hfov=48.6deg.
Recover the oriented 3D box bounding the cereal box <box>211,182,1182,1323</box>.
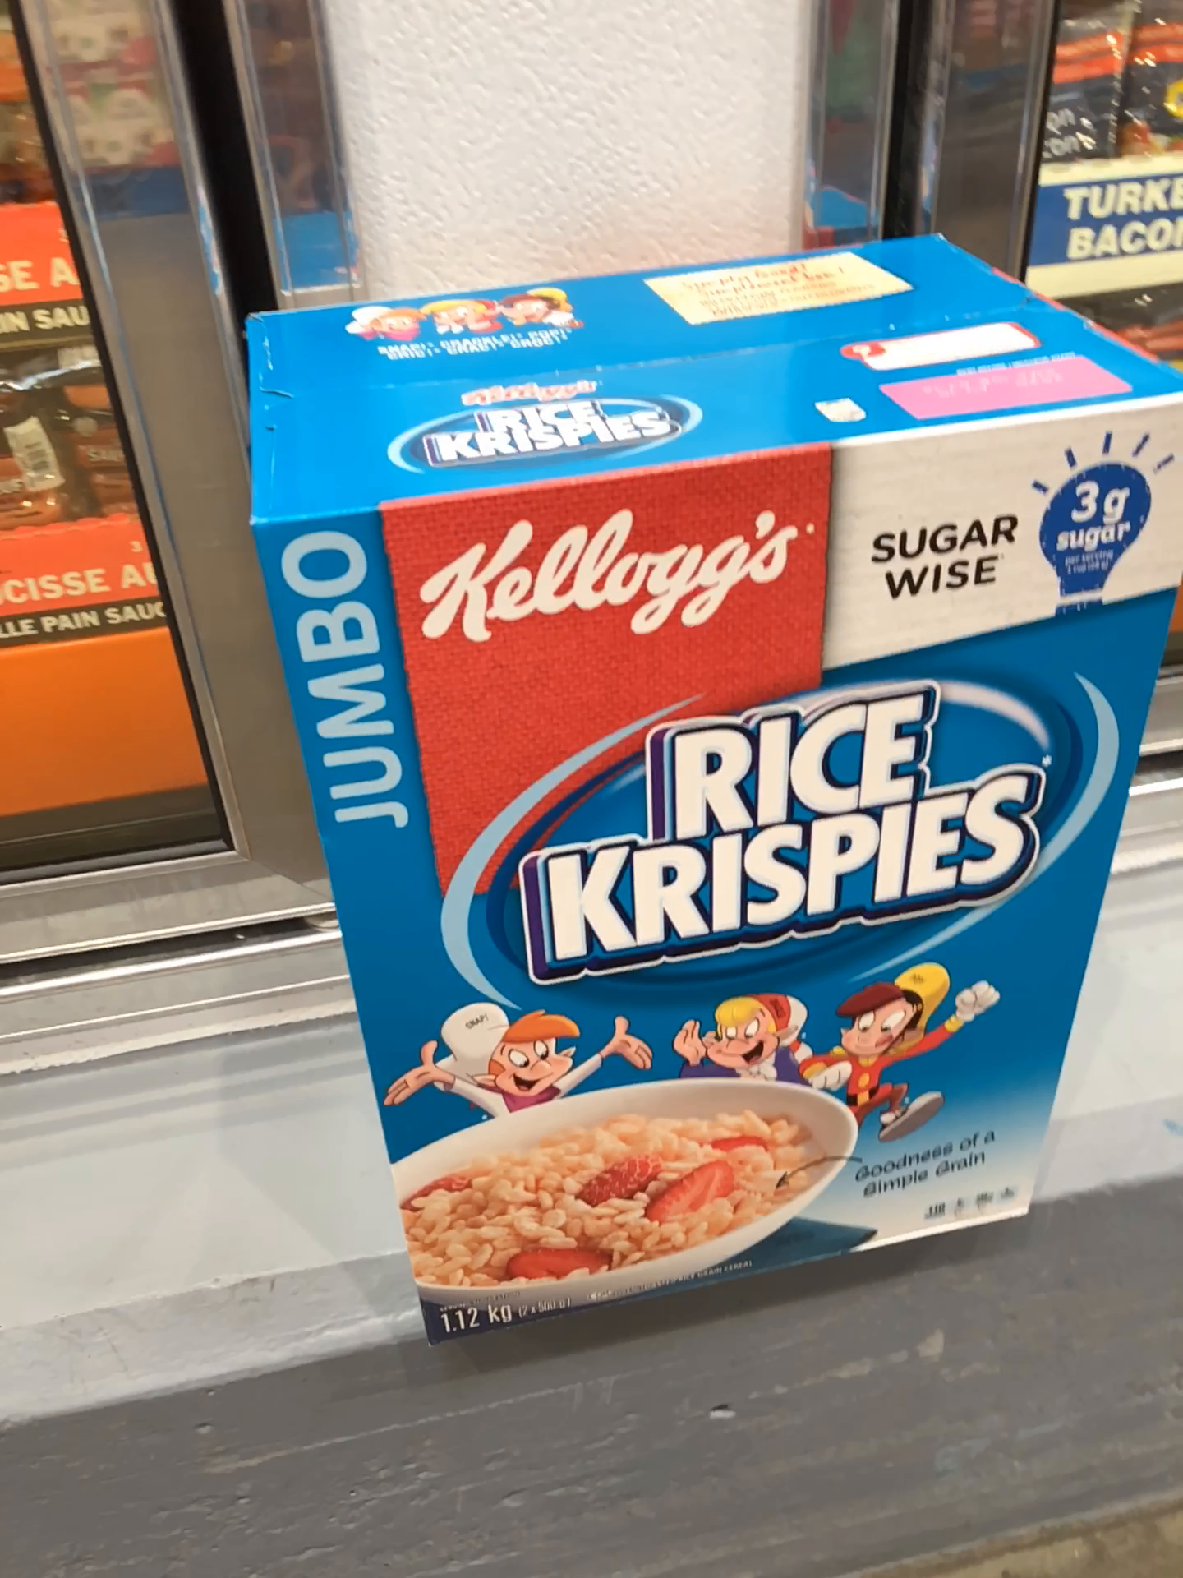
[{"bbox_3d":[0.029,-0.005,0.446,0.240,0.319,0.161,-10,38,-8],"label":"cereal box"}]
